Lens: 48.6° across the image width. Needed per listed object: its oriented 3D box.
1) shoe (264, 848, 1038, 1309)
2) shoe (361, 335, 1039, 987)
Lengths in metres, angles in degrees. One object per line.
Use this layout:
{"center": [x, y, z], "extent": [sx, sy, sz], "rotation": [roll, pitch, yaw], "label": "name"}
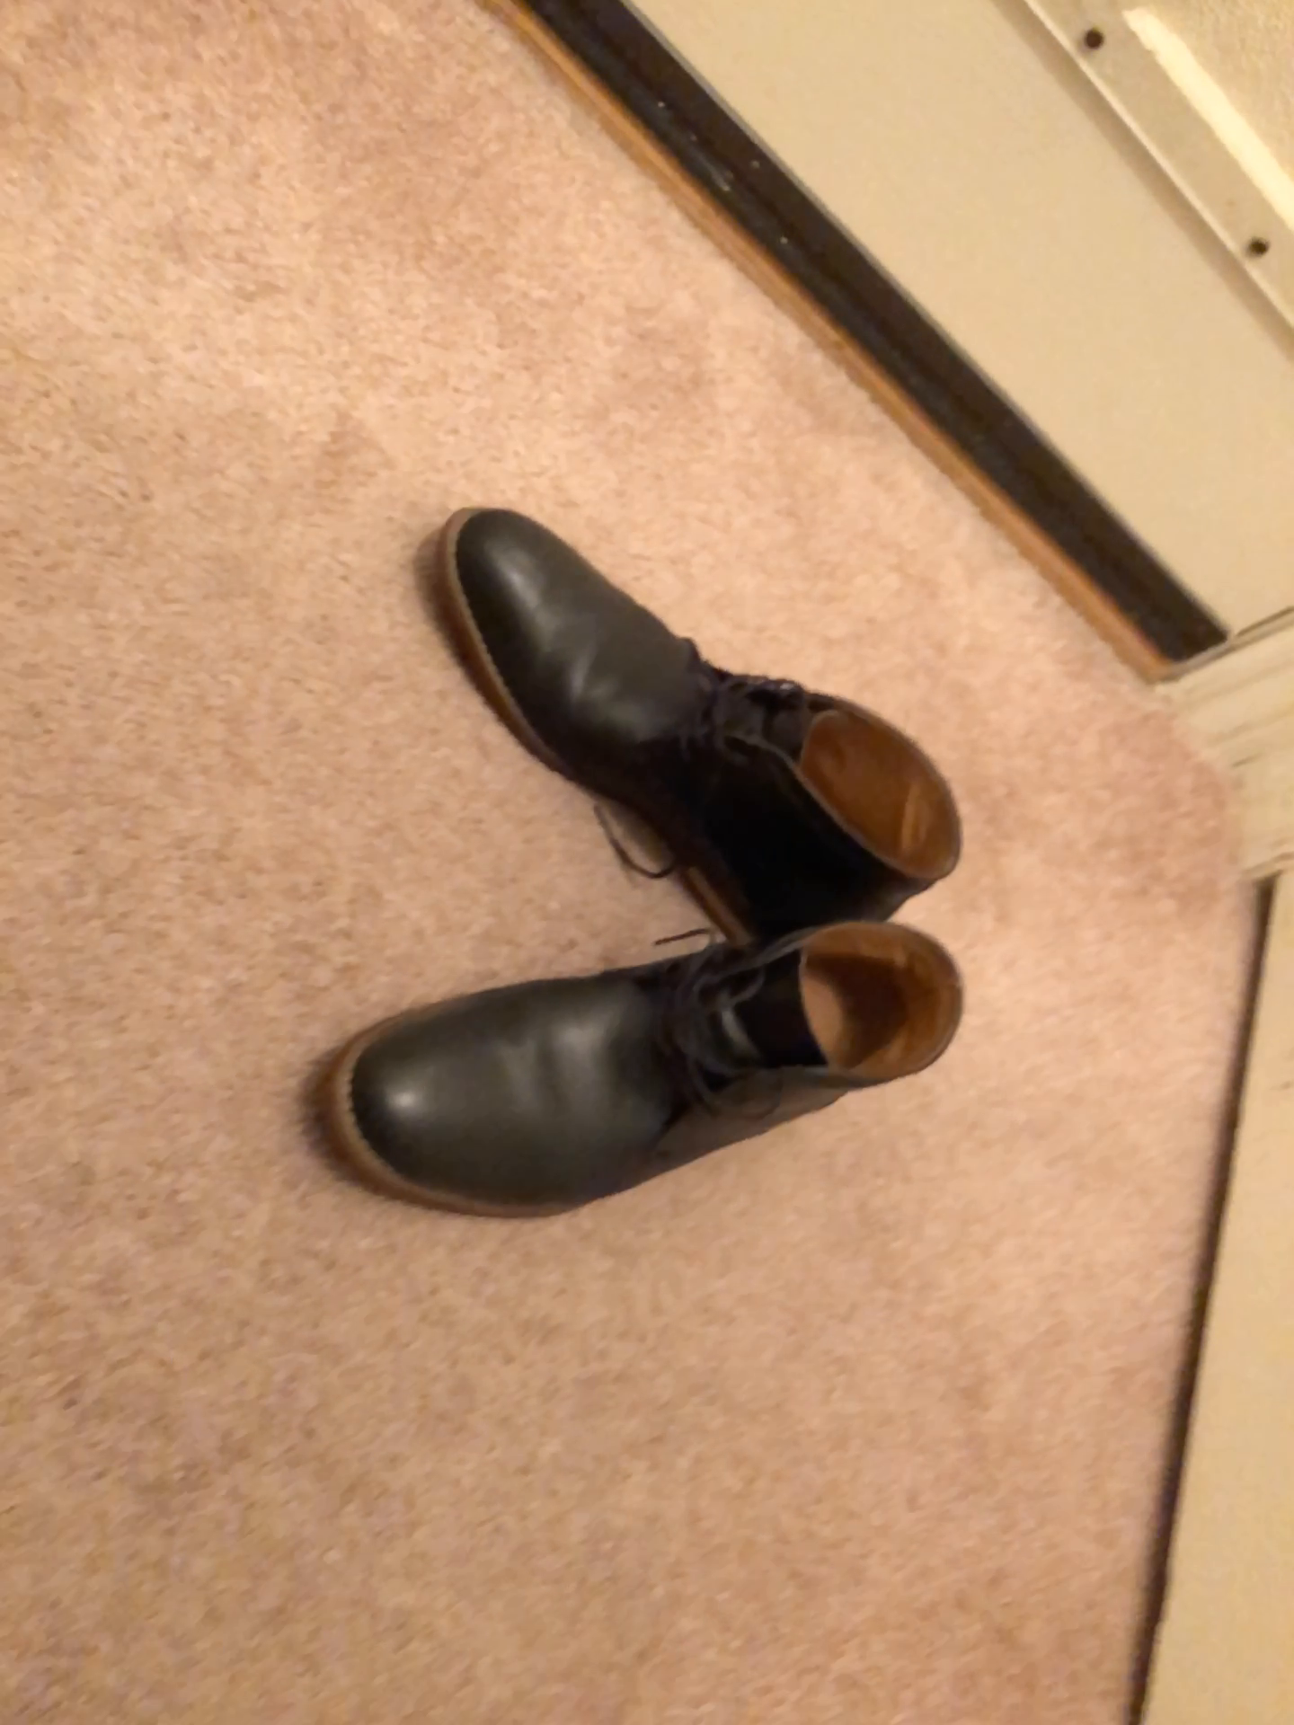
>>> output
{"center": [0.011, 0.088, 0.636], "extent": [0.304, 0.135, 0.116], "rotation": [-10, 80, -38], "label": "shoe"}
{"center": [0.033, -0.086, 0.719], "extent": [0.303, 0.135, 0.117], "rotation": [40, 54, -18], "label": "shoe"}
